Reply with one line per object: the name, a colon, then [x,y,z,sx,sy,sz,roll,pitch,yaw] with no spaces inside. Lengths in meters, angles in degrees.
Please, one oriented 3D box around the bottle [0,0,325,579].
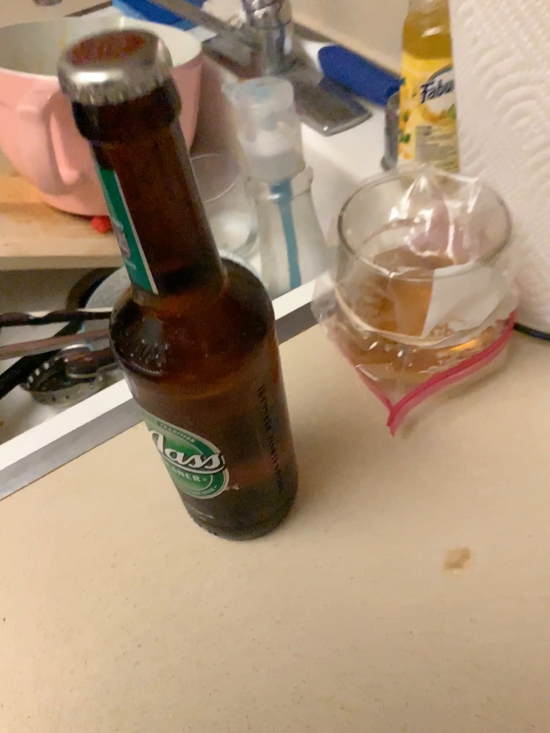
bottle: [-0.031,-0.005,0.242,0.070,0.230,0.060,28,59,27]
